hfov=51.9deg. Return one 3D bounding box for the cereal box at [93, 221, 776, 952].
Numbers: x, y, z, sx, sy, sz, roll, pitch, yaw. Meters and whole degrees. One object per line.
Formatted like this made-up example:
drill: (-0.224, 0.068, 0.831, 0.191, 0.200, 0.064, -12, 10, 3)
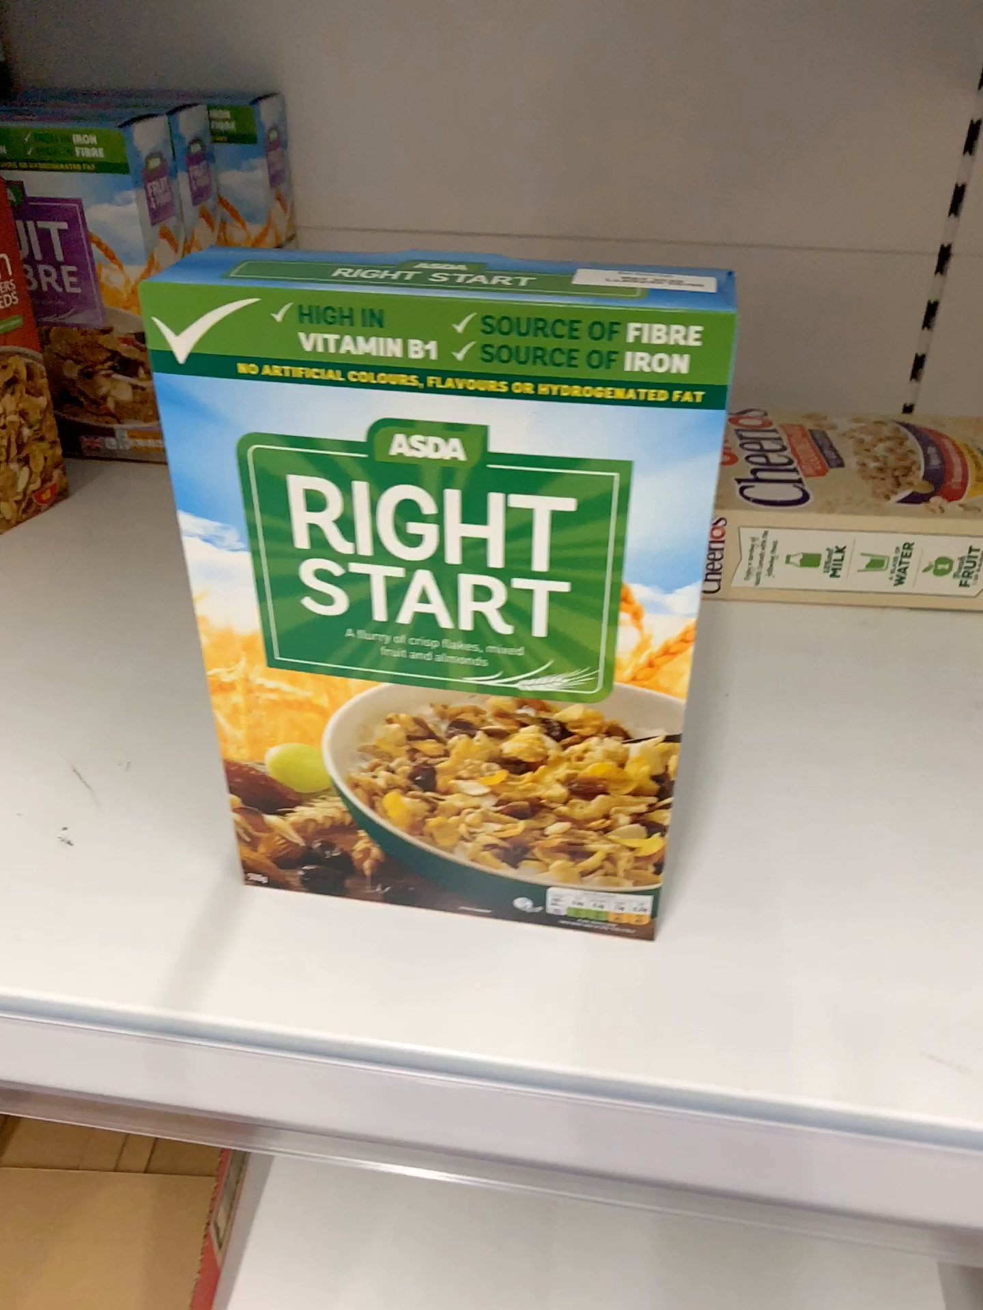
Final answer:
cereal box: (-0.015, -0.015, 0.394, 0.200, 0.267, 0.071, 6, 35, 8)
